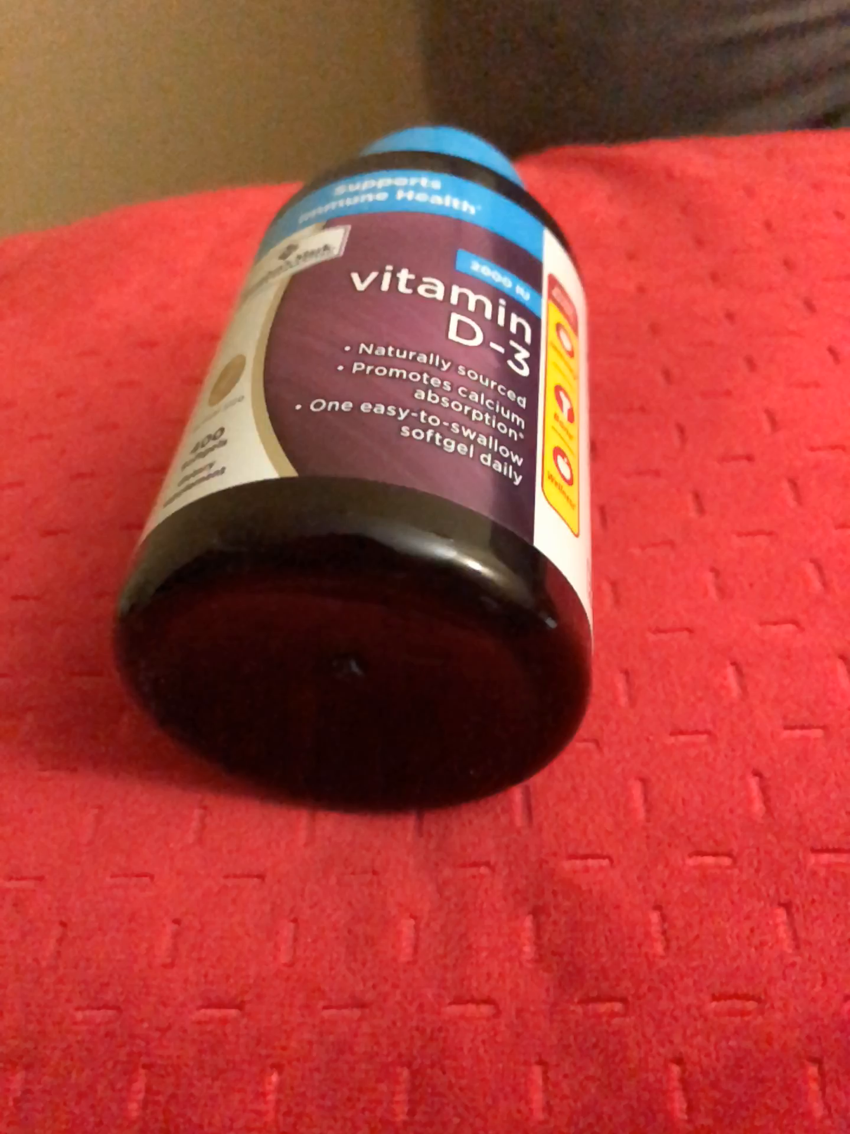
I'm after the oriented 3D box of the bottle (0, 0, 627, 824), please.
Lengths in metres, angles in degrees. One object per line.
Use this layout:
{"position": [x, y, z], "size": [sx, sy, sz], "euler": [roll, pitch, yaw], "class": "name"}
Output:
{"position": [-0.009, -0.039, 0.154], "size": [0.070, 0.060, 0.140], "euler": [-4, 49, 12], "class": "bottle"}
